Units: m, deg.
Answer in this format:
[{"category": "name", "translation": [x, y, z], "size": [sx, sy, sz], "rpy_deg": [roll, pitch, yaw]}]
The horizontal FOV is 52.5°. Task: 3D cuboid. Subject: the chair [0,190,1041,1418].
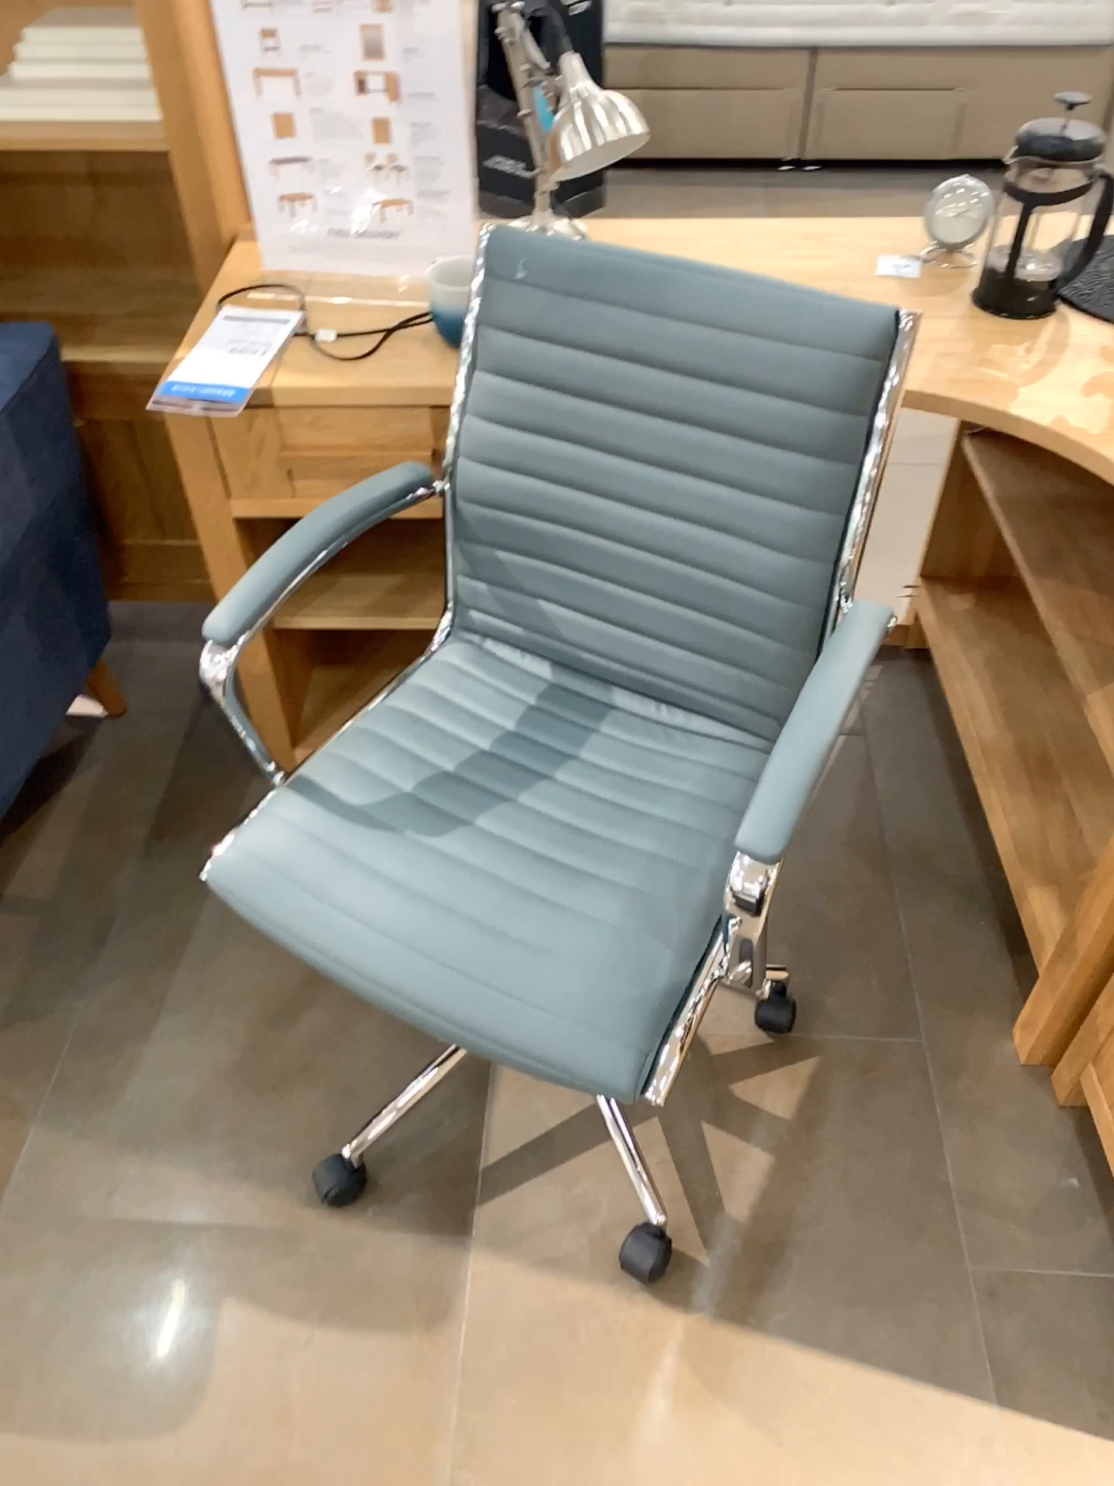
[{"category": "chair", "translation": [-0.036, 0.048, 1.196], "size": [0.665, 0.883, 0.712], "rpy_deg": [21, 49, 21]}]
